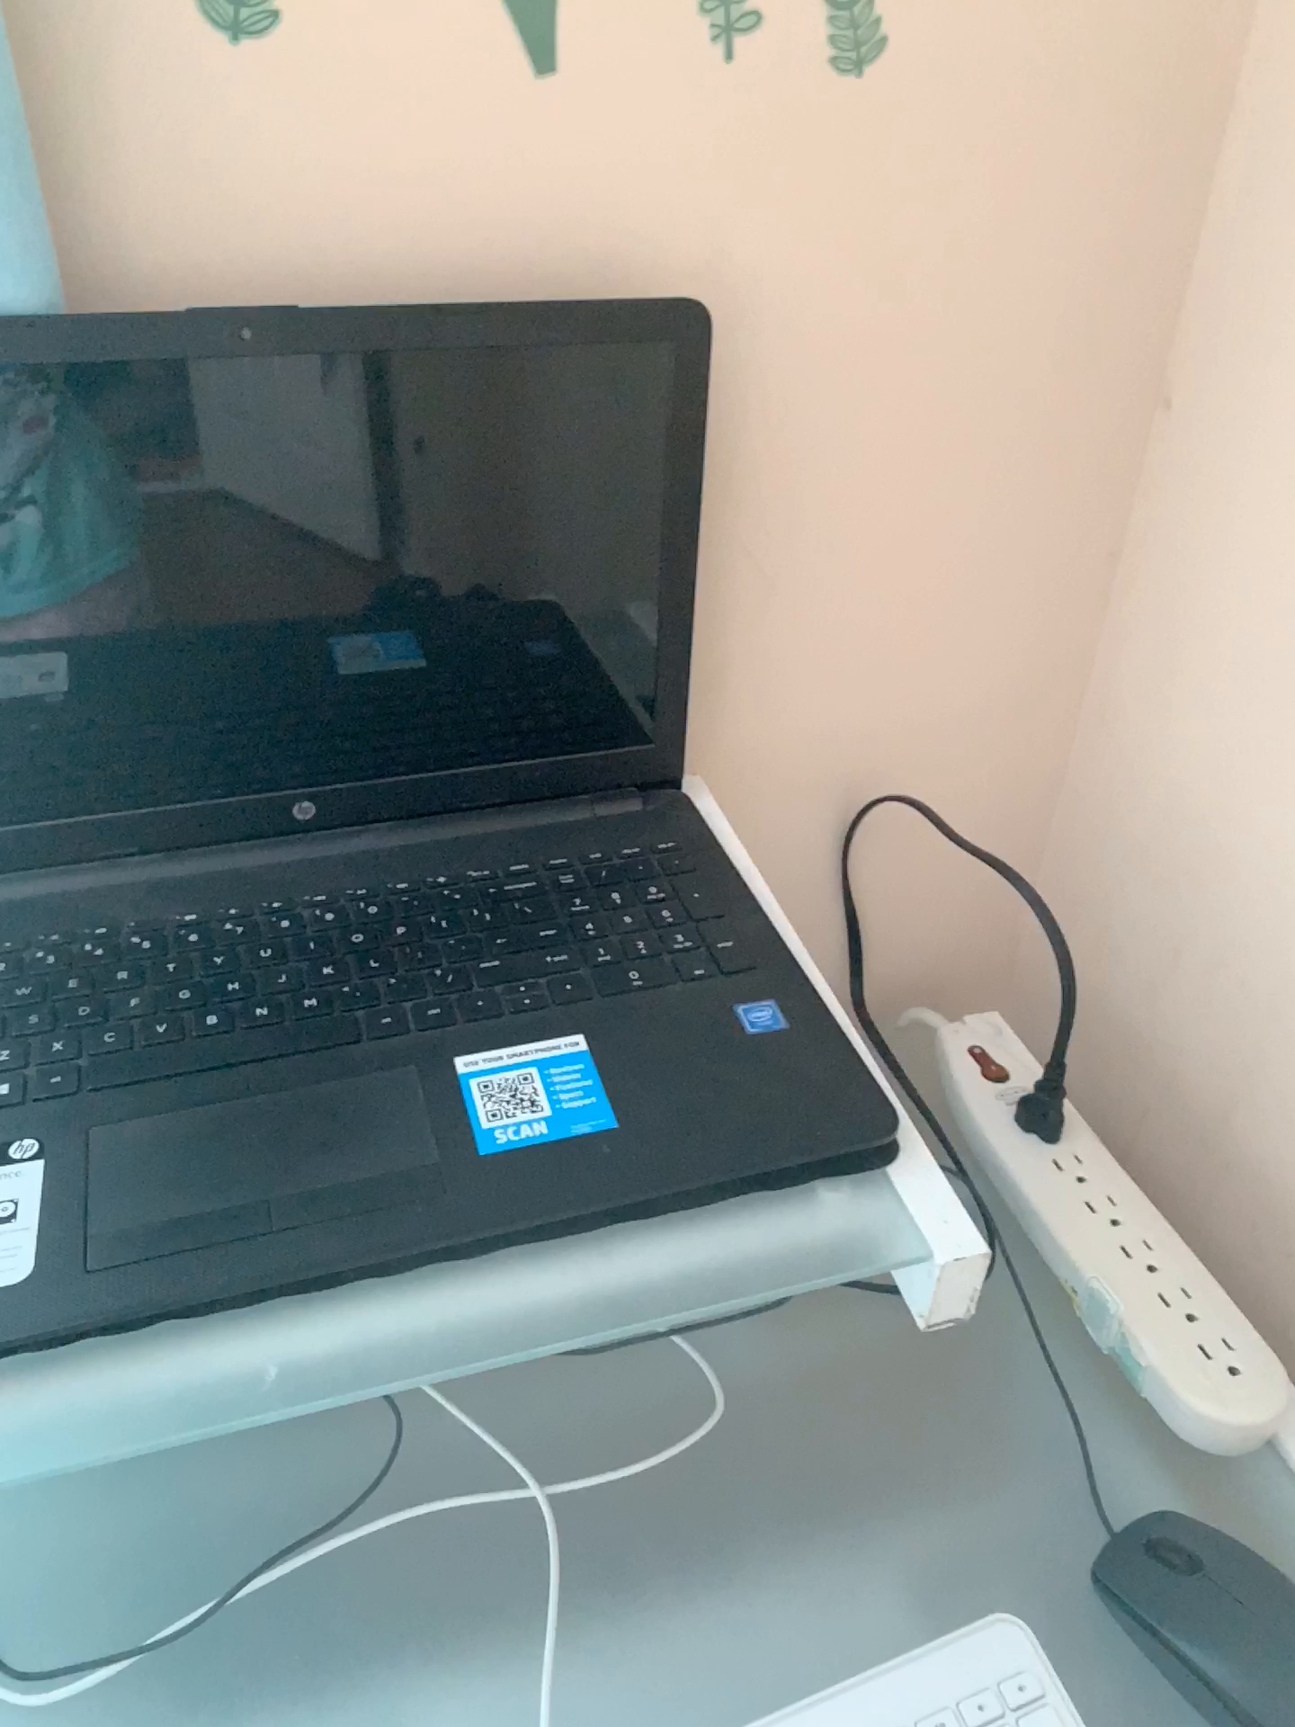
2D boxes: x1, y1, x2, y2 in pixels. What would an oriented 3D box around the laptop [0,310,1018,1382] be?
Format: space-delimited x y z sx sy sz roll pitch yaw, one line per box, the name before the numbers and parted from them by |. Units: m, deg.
laptop | -0.118 -0.039 0.460 0.358 0.225 0.246 -8 36 -17
